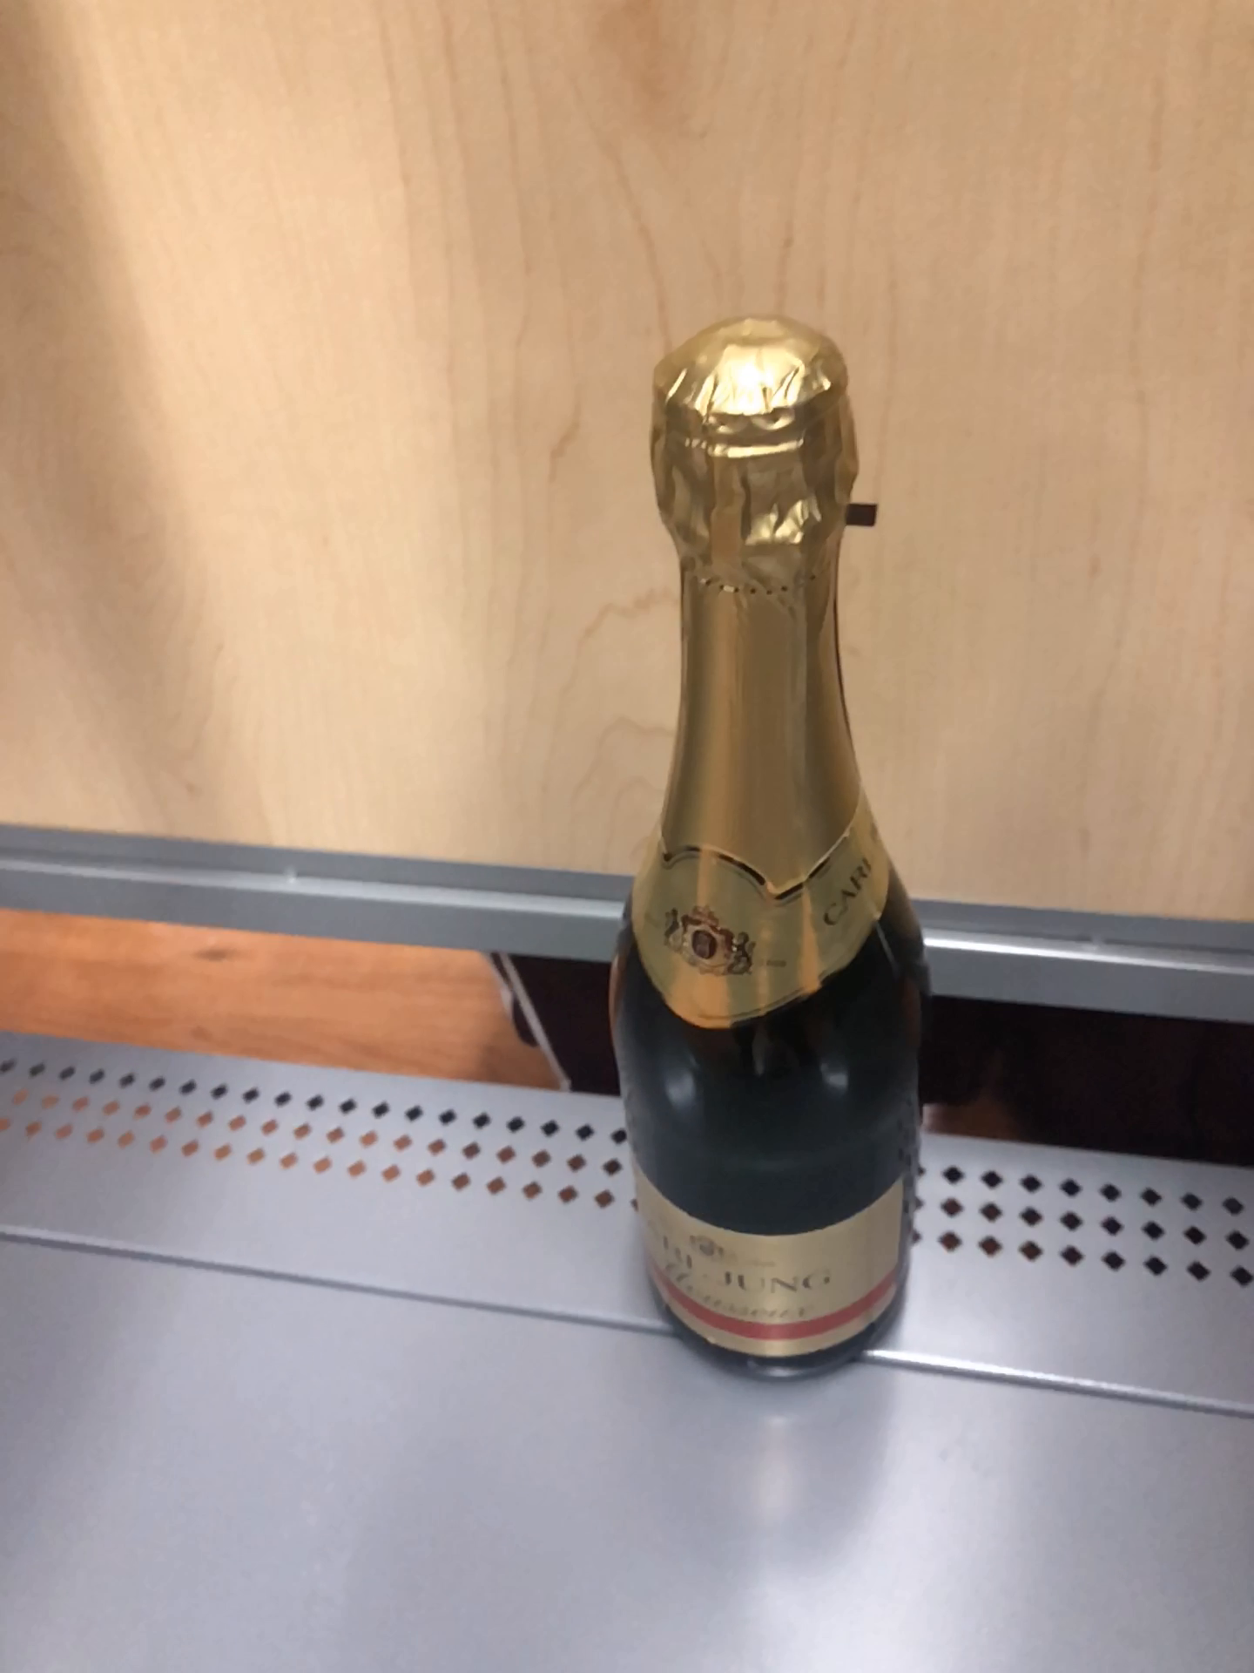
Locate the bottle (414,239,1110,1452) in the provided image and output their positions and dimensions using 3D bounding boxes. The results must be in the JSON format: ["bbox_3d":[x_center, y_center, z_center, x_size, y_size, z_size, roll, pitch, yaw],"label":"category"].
[{"bbox_3d":[0.037,0.025,0.350,0.090,0.298,0.090,-4,42,3],"label":"bottle"}]
